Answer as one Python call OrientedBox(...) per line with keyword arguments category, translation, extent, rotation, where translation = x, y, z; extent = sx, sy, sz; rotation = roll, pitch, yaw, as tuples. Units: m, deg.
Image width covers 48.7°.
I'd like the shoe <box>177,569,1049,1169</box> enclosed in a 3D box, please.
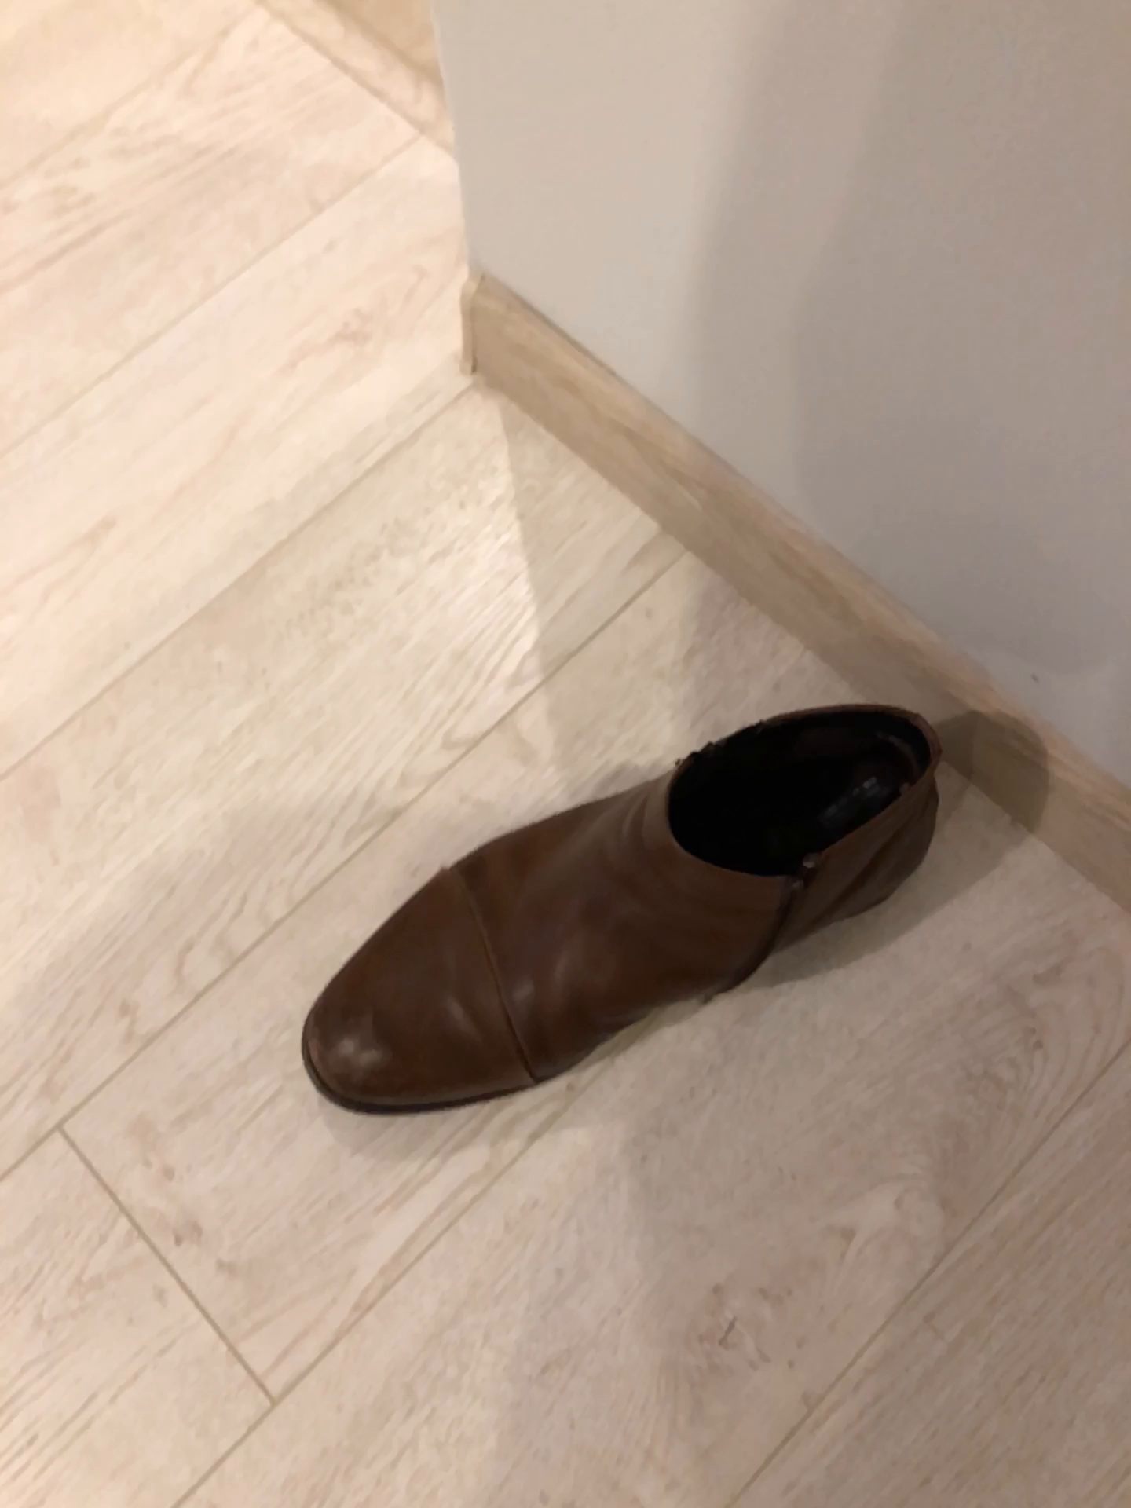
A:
OrientedBox(category="shoe", translation=(0.019, 0.053, 0.528), extent=(0.310, 0.110, 0.120), rotation=(-22, 70, -5))
